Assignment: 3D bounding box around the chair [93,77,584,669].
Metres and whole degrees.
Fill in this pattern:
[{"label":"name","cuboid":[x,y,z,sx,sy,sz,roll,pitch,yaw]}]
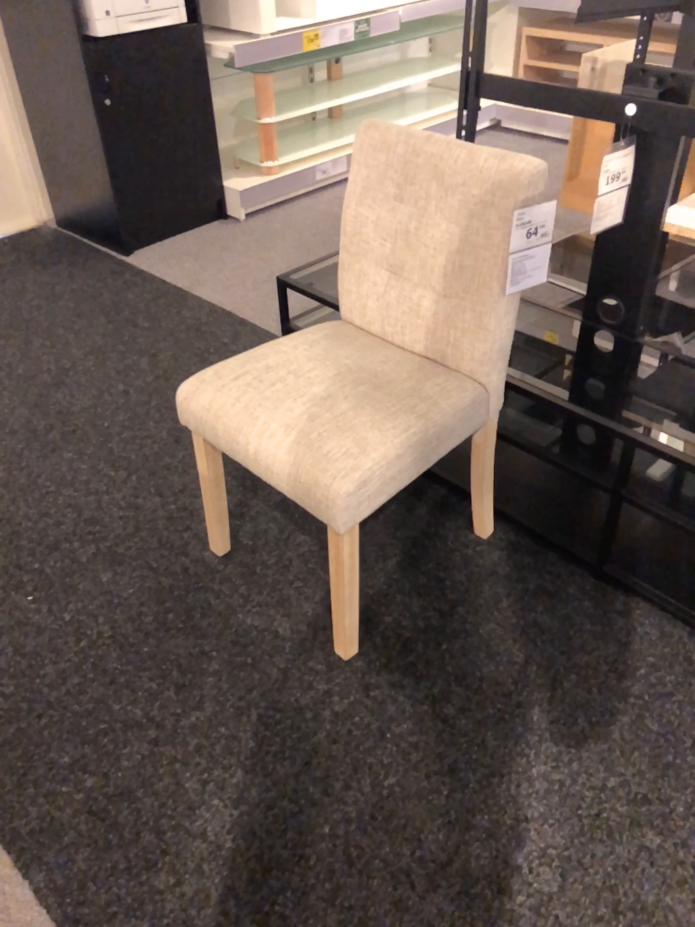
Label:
[{"label":"chair","cuboid":[-0.008,-0.194,1.479,0.563,0.855,0.551,-32,47,-33]}]
